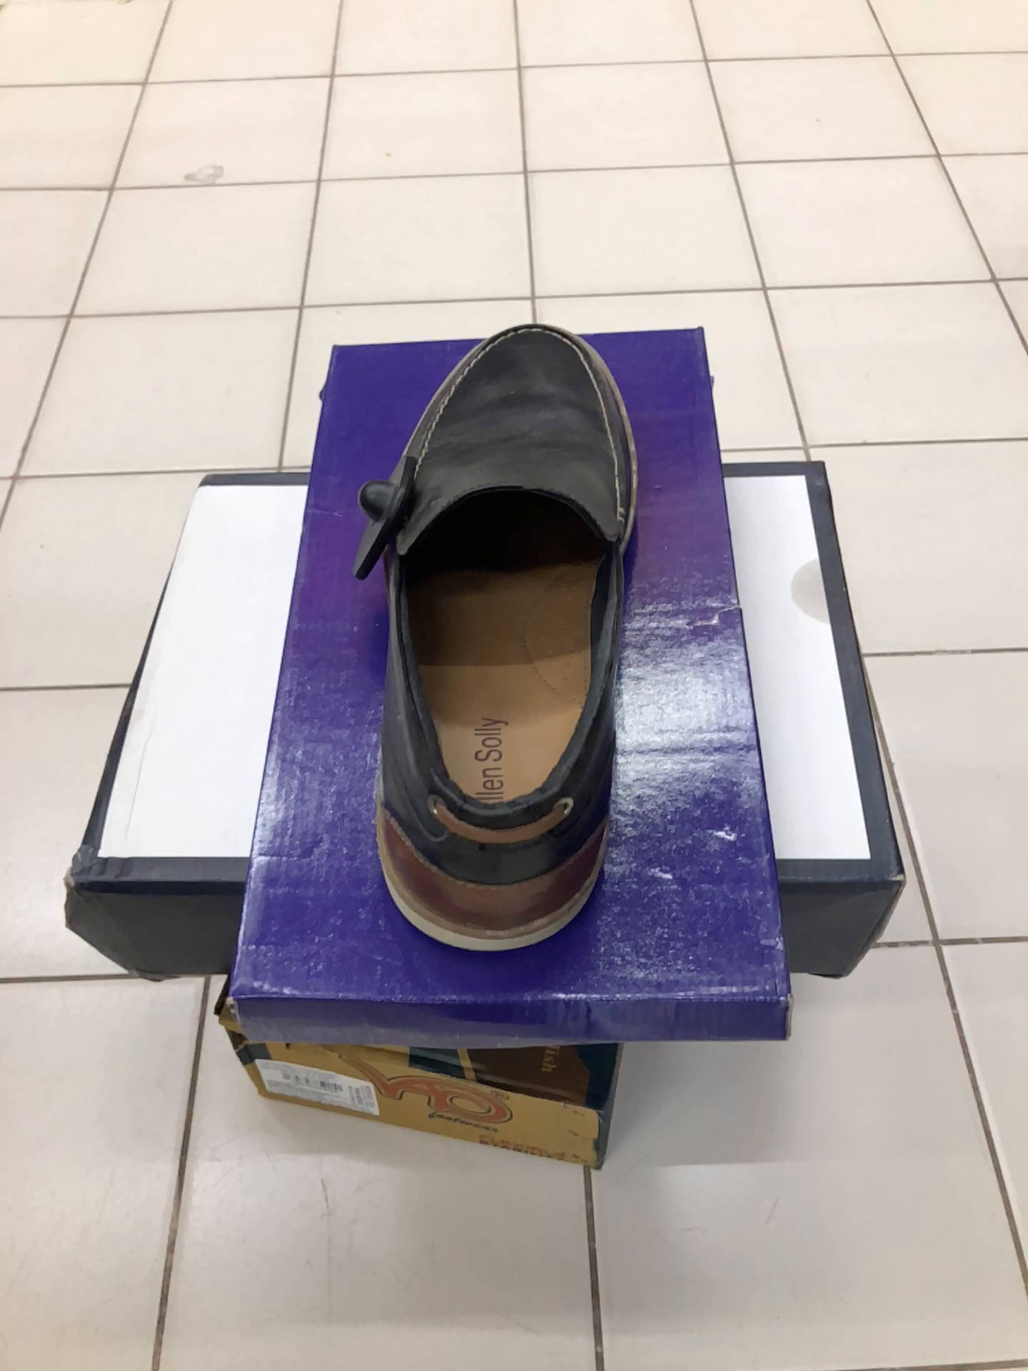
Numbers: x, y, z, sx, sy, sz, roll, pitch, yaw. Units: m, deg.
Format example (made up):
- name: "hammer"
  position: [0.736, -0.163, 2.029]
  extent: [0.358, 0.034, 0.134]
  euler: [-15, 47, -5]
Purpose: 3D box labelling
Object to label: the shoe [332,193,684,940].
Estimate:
- name: "shoe"
  position: [-0.001, -0.062, 0.457]
  extent: [0.100, 0.109, 0.302]
  euler: [-1, 54, 1]
